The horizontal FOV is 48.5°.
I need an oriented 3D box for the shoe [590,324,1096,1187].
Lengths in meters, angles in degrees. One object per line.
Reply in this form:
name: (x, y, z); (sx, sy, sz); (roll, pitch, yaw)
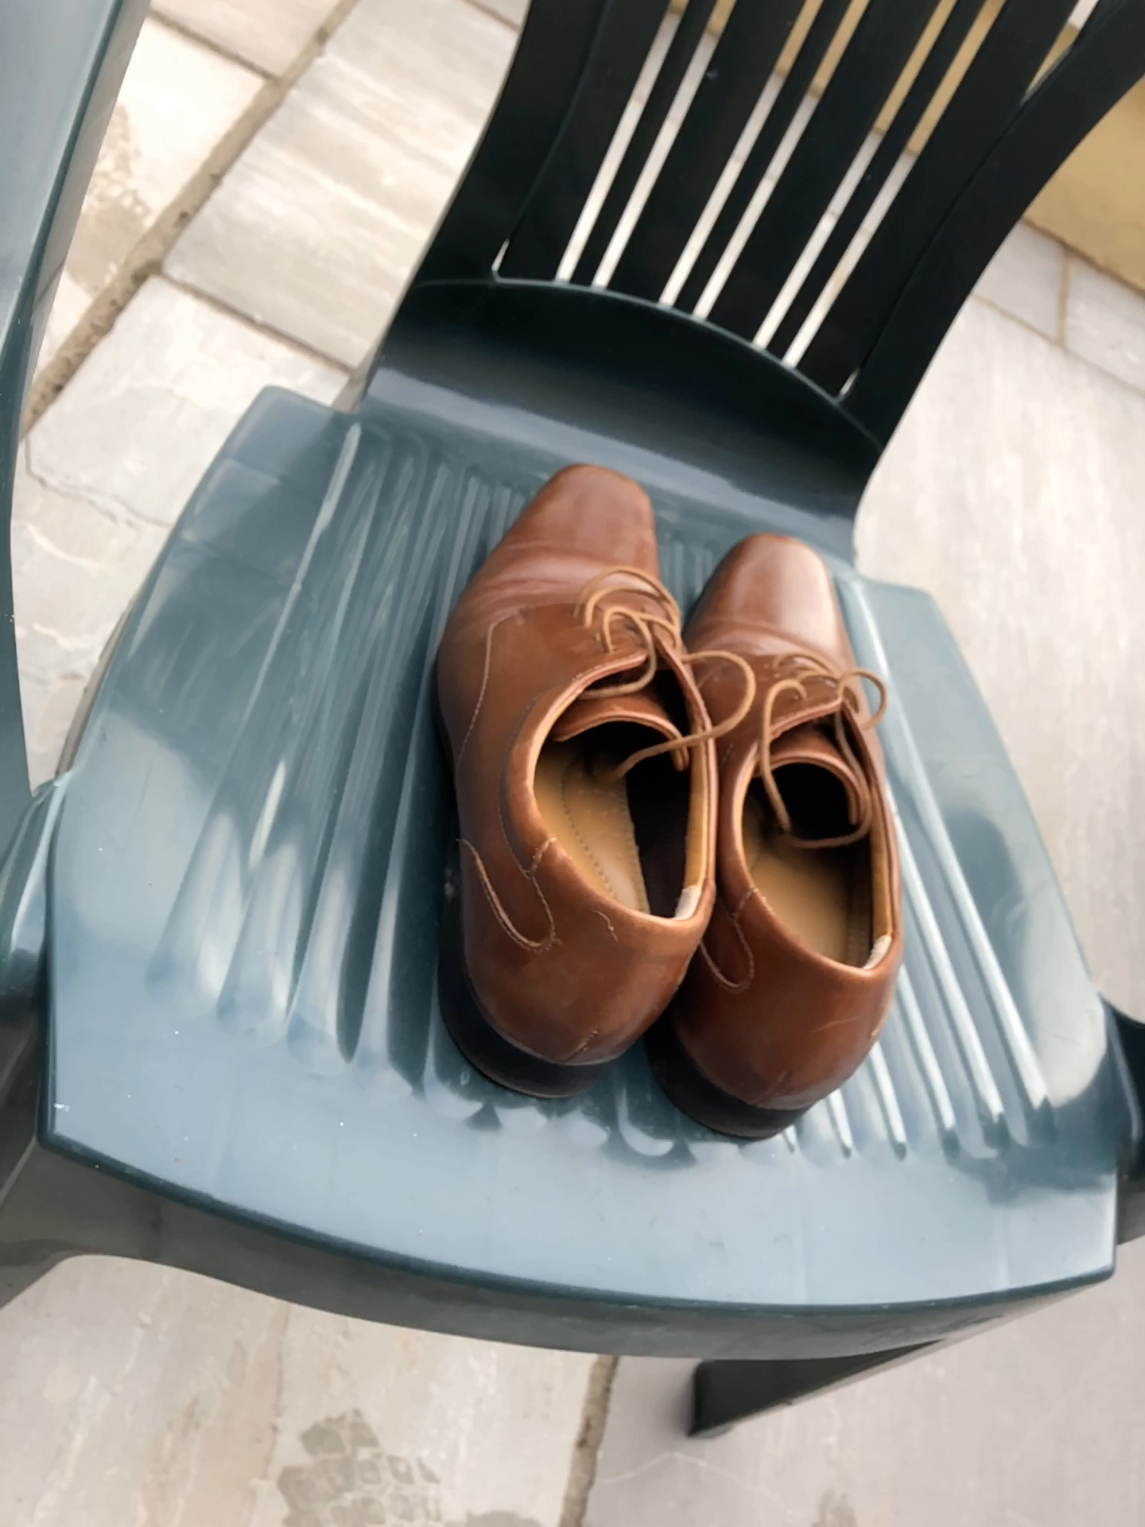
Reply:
shoe: (0.102, -0.010, 0.468); (0.110, 0.109, 0.282); (22, 55, -13)

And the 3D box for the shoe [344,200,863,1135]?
shoe: (0.021, -0.041, 0.439); (0.110, 0.109, 0.292); (19, 56, -15)
